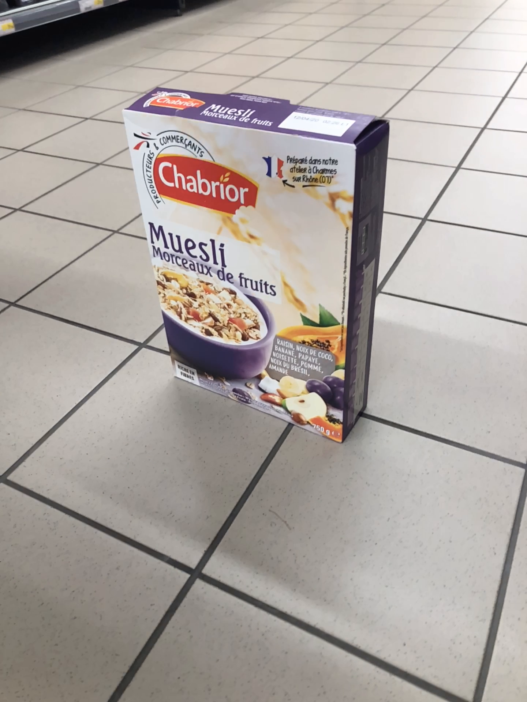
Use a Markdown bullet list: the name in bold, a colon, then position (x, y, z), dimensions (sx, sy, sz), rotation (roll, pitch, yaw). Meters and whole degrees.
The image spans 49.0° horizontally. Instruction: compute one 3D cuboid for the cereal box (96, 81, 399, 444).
- **cereal box**: position (-0.010, -0.071, 0.488), dimensions (0.210, 0.259, 0.070), rotation (19, 44, 26)
